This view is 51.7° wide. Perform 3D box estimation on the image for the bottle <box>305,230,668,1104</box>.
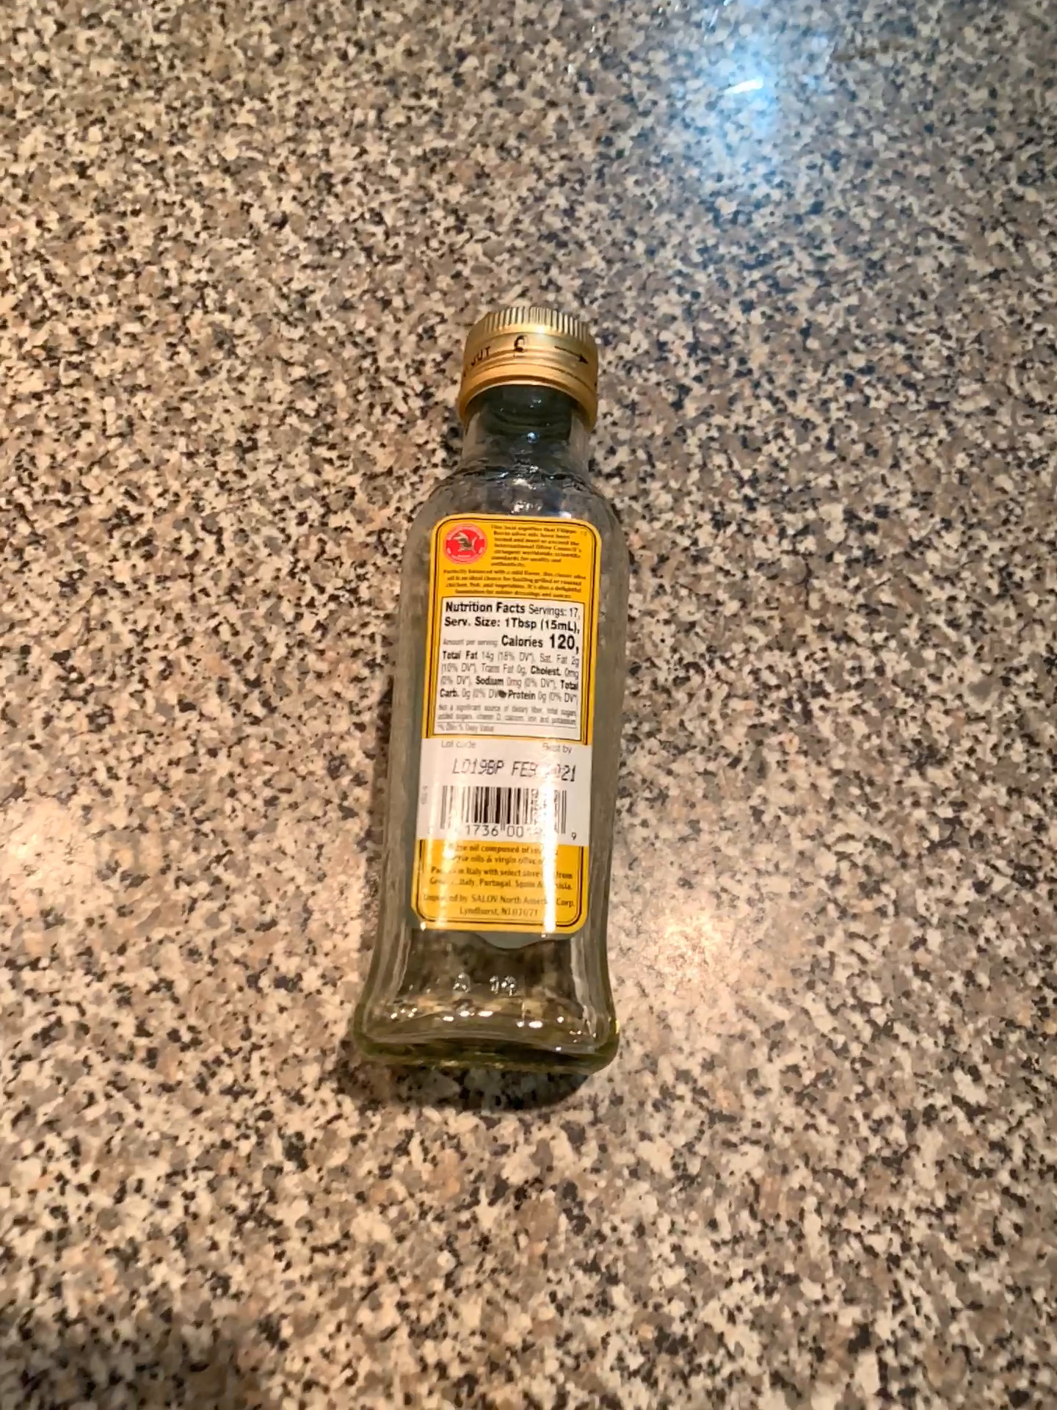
[{"bbox_3d":[-0.004,-0.010,0.240,0.060,0.060,0.180,3,70,-1],"label":"bottle"}]
